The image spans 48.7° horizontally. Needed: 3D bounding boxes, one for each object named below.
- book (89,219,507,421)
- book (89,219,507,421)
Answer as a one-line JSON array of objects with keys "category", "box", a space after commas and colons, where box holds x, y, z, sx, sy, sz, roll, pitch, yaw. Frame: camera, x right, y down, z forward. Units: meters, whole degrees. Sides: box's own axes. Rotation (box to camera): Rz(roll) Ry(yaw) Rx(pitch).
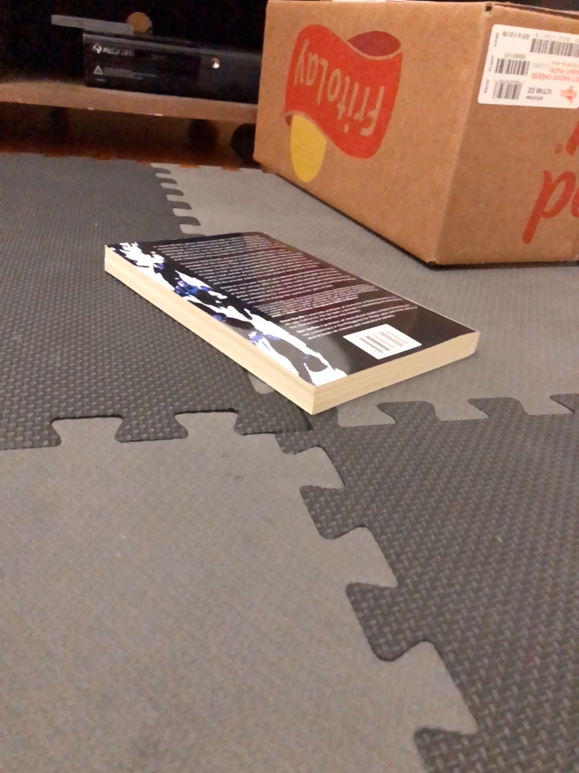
[{"category": "book", "box": [-0.004, -0.060, 0.408, 0.150, 0.020, 0.231, -18, 37, -38]}, {"category": "book", "box": [-0.004, -0.060, 0.408, 0.150, 0.020, 0.231, -18, 37, -38]}]
